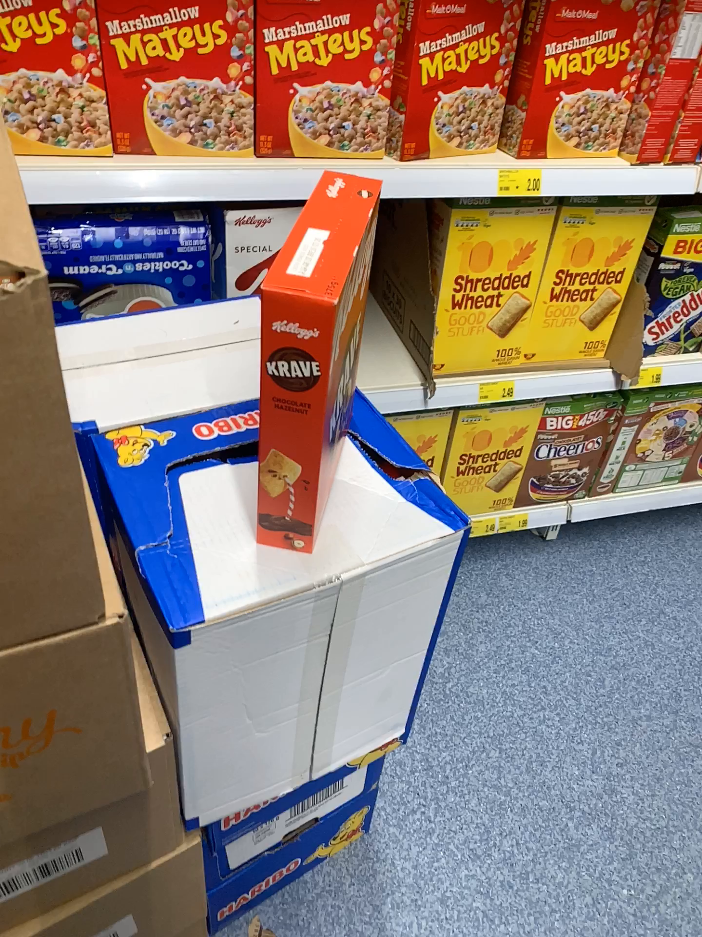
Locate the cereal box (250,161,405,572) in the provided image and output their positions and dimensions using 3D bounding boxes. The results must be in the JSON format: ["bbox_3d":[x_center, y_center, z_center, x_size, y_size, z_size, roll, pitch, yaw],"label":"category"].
[{"bbox_3d":[-0.019,-0.078,0.556,0.060,0.238,0.202,12,42,3],"label":"cereal box"}]
